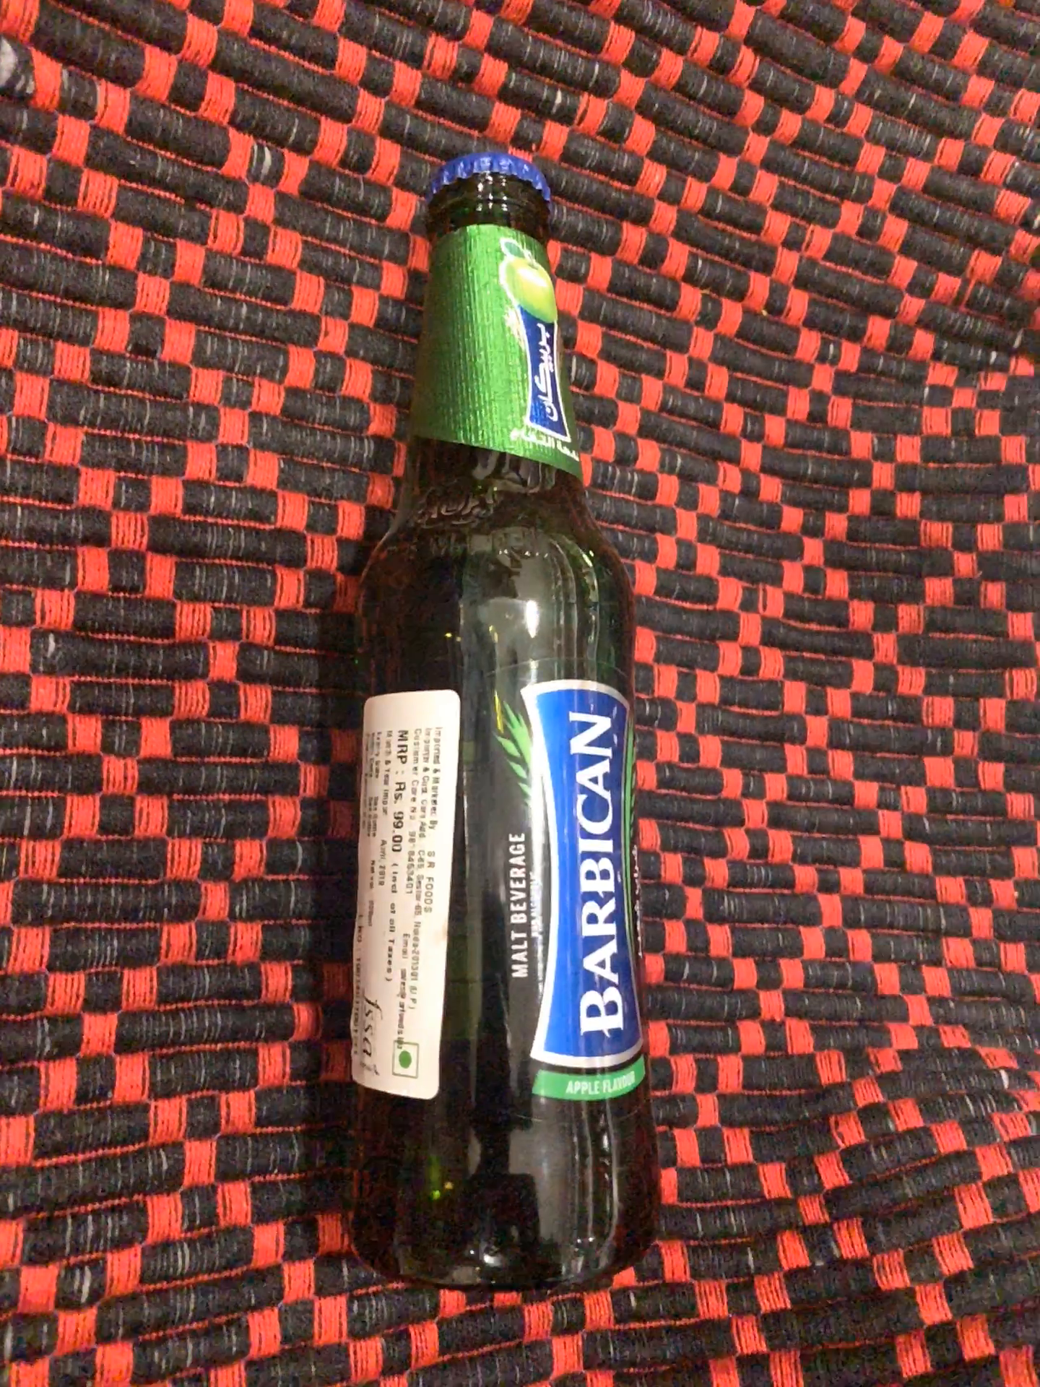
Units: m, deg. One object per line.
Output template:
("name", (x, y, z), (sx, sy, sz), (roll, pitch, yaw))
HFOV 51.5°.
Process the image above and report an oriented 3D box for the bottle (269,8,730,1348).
("bottle", (-0.009, -0.011, 0.225), (0.070, 0.050, 0.238), (5, 76, -29))
